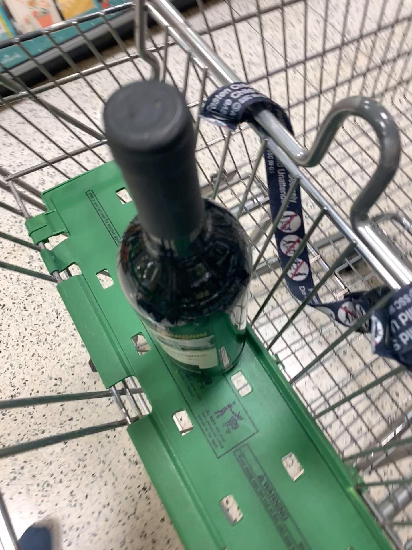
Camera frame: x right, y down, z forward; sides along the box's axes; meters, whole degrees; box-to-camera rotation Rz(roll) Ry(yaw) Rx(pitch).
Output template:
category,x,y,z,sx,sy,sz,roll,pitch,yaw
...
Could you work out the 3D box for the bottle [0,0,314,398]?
category,x,y,z,sx,sy,sz,roll,pitch,yaw
bottle,-0.013,0.003,0.257,0.080,0.278,0.075,-1,67,3
